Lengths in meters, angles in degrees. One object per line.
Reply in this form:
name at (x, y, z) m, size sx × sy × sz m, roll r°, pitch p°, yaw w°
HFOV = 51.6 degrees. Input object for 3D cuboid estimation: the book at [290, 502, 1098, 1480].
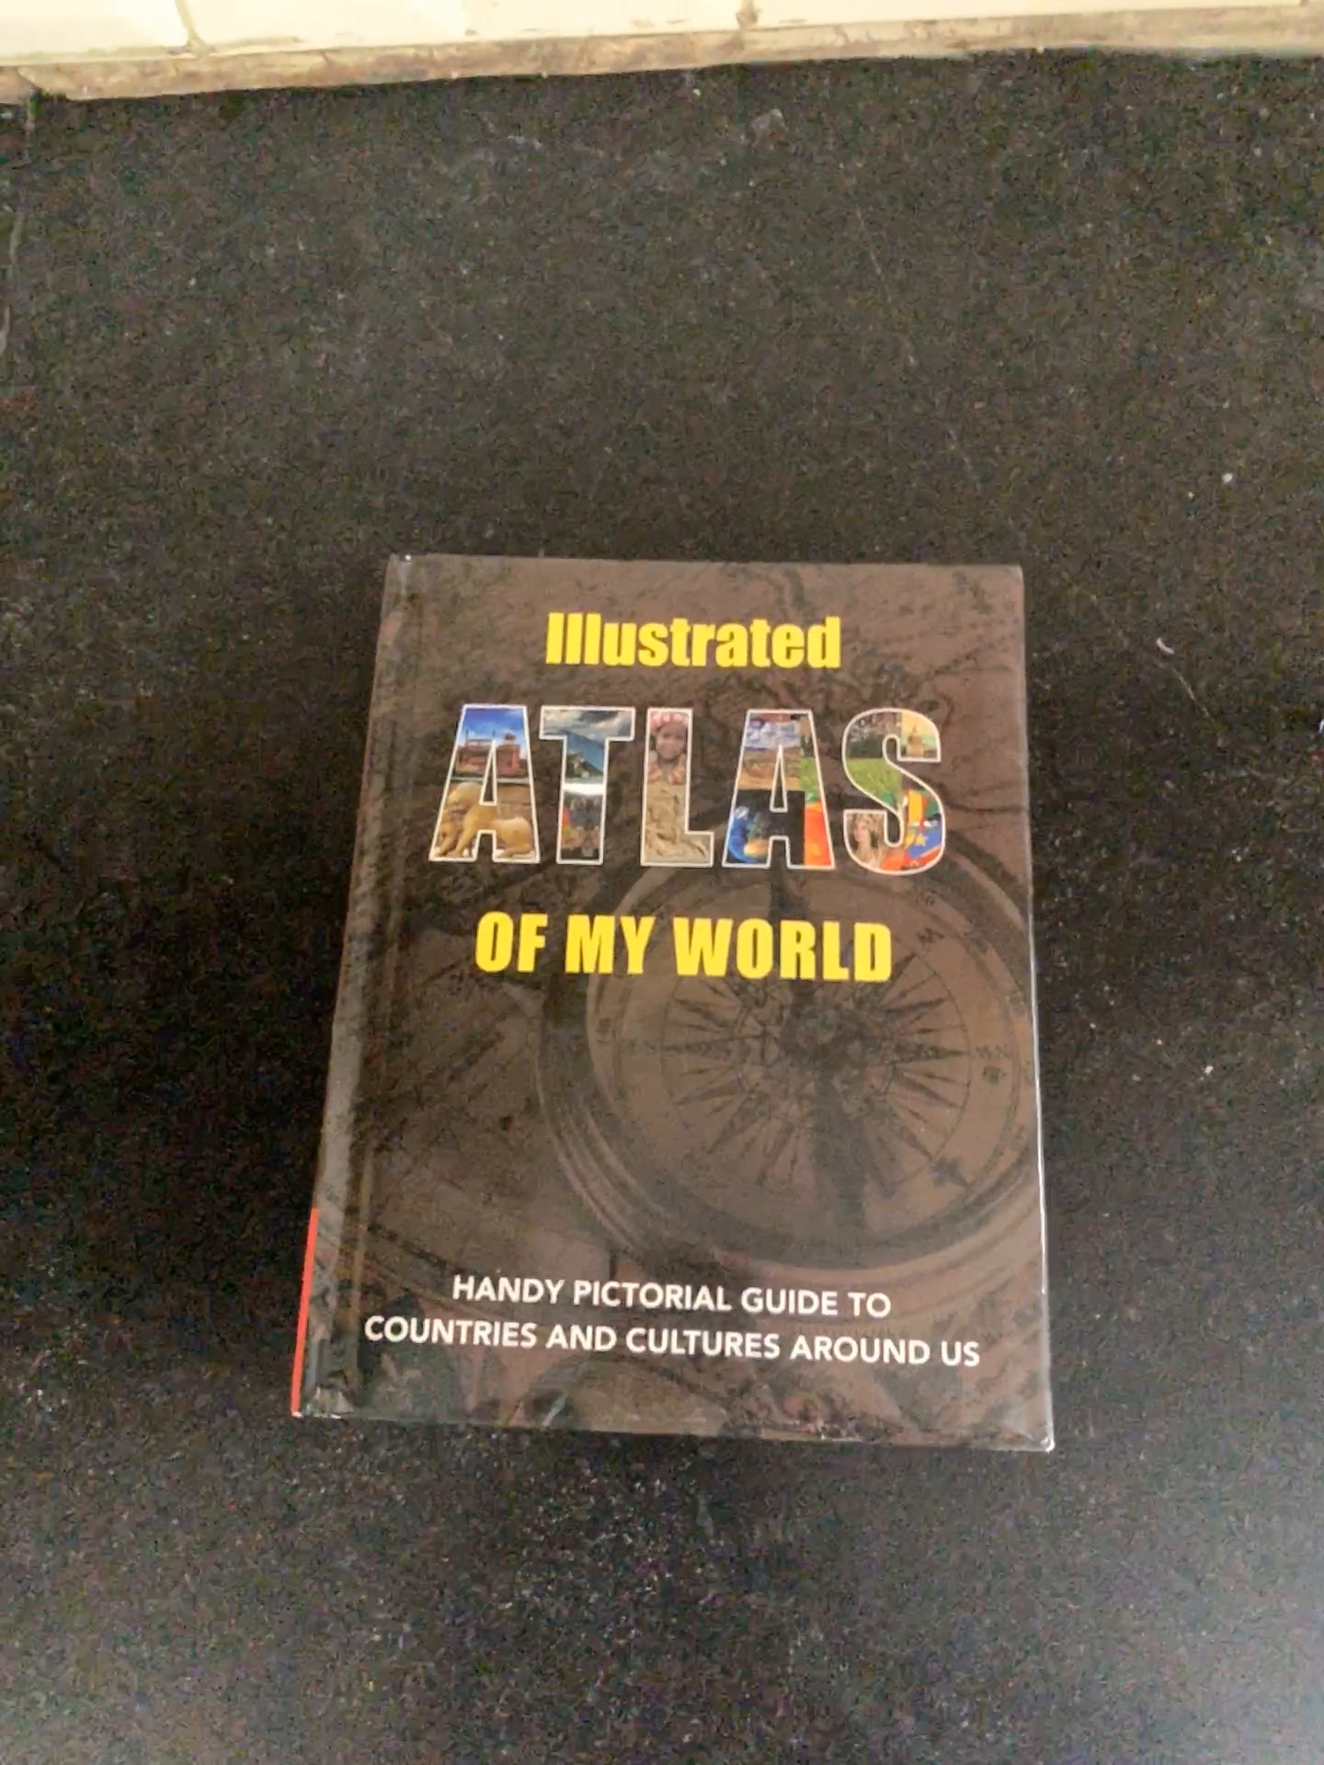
book at (0.012, 0.020, 0.397) m, size 0.200 × 0.040 × 0.271 m, roll 1°, pitch 73°, yaw 3°
